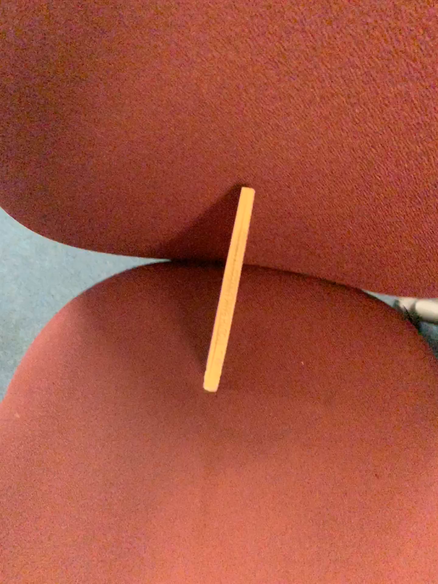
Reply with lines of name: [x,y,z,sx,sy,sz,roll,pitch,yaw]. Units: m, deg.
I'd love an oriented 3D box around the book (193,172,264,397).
book: [0.006,0.013,0.367,0.017,0.190,0.141,11,77,2]
